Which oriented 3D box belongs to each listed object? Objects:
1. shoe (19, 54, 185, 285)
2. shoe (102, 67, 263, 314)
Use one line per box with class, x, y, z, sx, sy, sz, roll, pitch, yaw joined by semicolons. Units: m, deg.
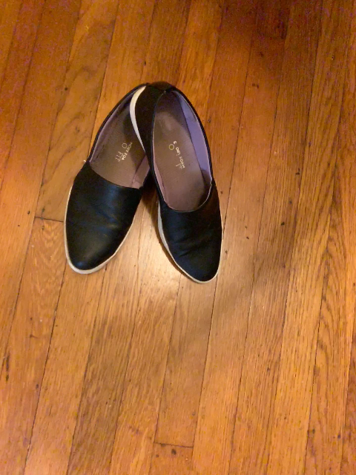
shoe;-0.088;-0.080;0.467;0.100;0.080;0.260;22;82;-4
shoe;0.007;-0.050;0.436;0.100;0.080;0.250;-23;109;-8
